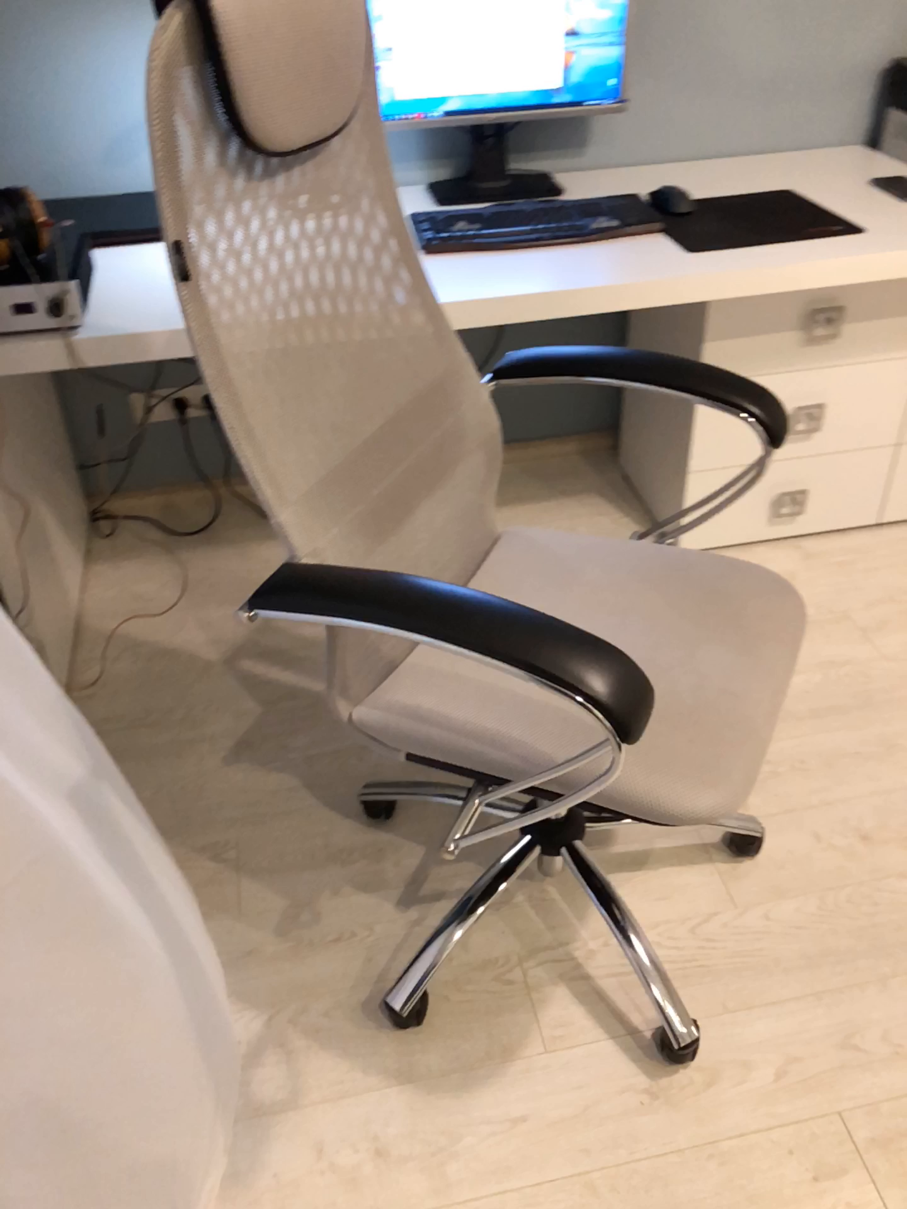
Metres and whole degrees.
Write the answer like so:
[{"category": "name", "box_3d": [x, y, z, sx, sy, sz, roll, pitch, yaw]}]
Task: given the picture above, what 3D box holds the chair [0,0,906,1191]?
[{"category": "chair", "box_3d": [0.106, -0.046, 1.231, 0.681, 1.290, 0.695, 15, 41, 21]}]
